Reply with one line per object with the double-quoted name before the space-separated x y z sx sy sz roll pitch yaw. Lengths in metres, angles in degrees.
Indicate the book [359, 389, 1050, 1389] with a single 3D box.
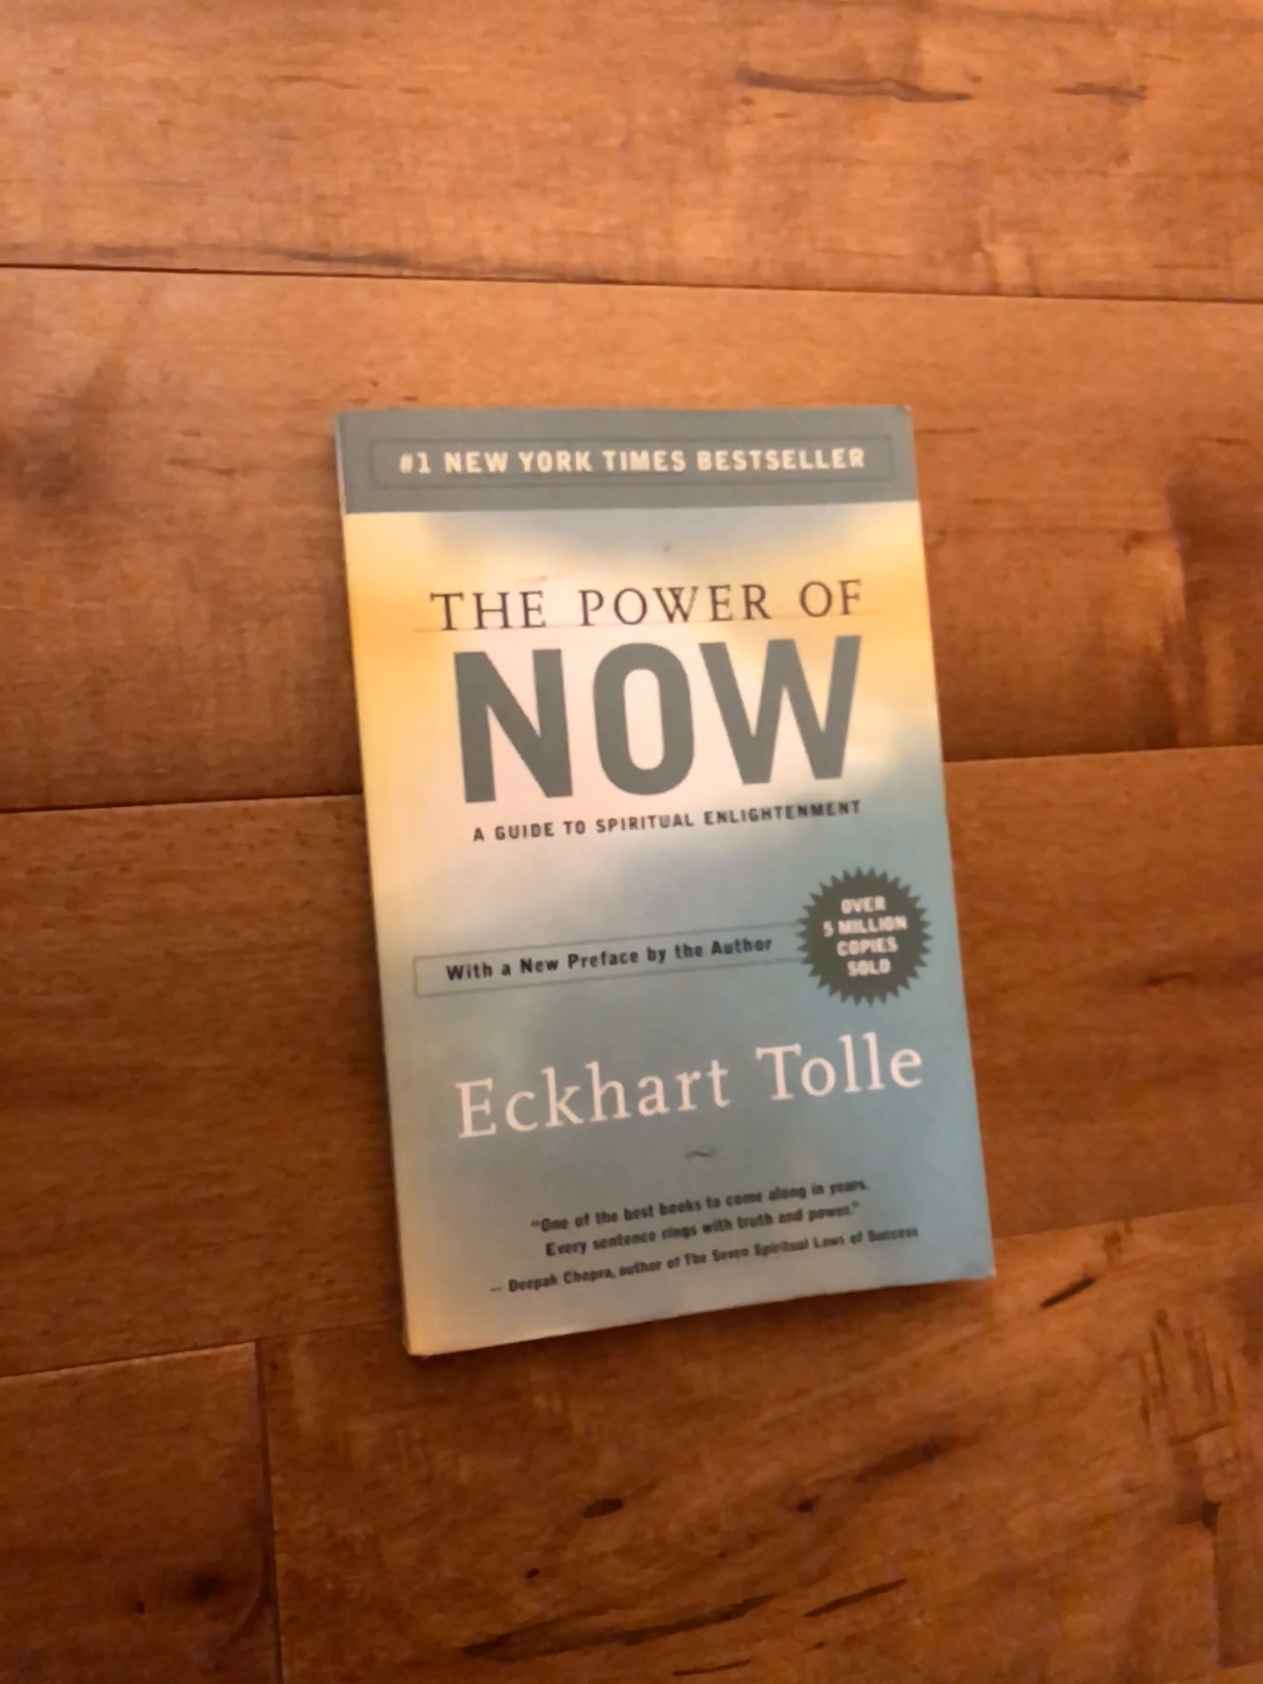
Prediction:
"book" 0.017 0.005 0.343 0.146 0.030 0.222 -5 88 -13
